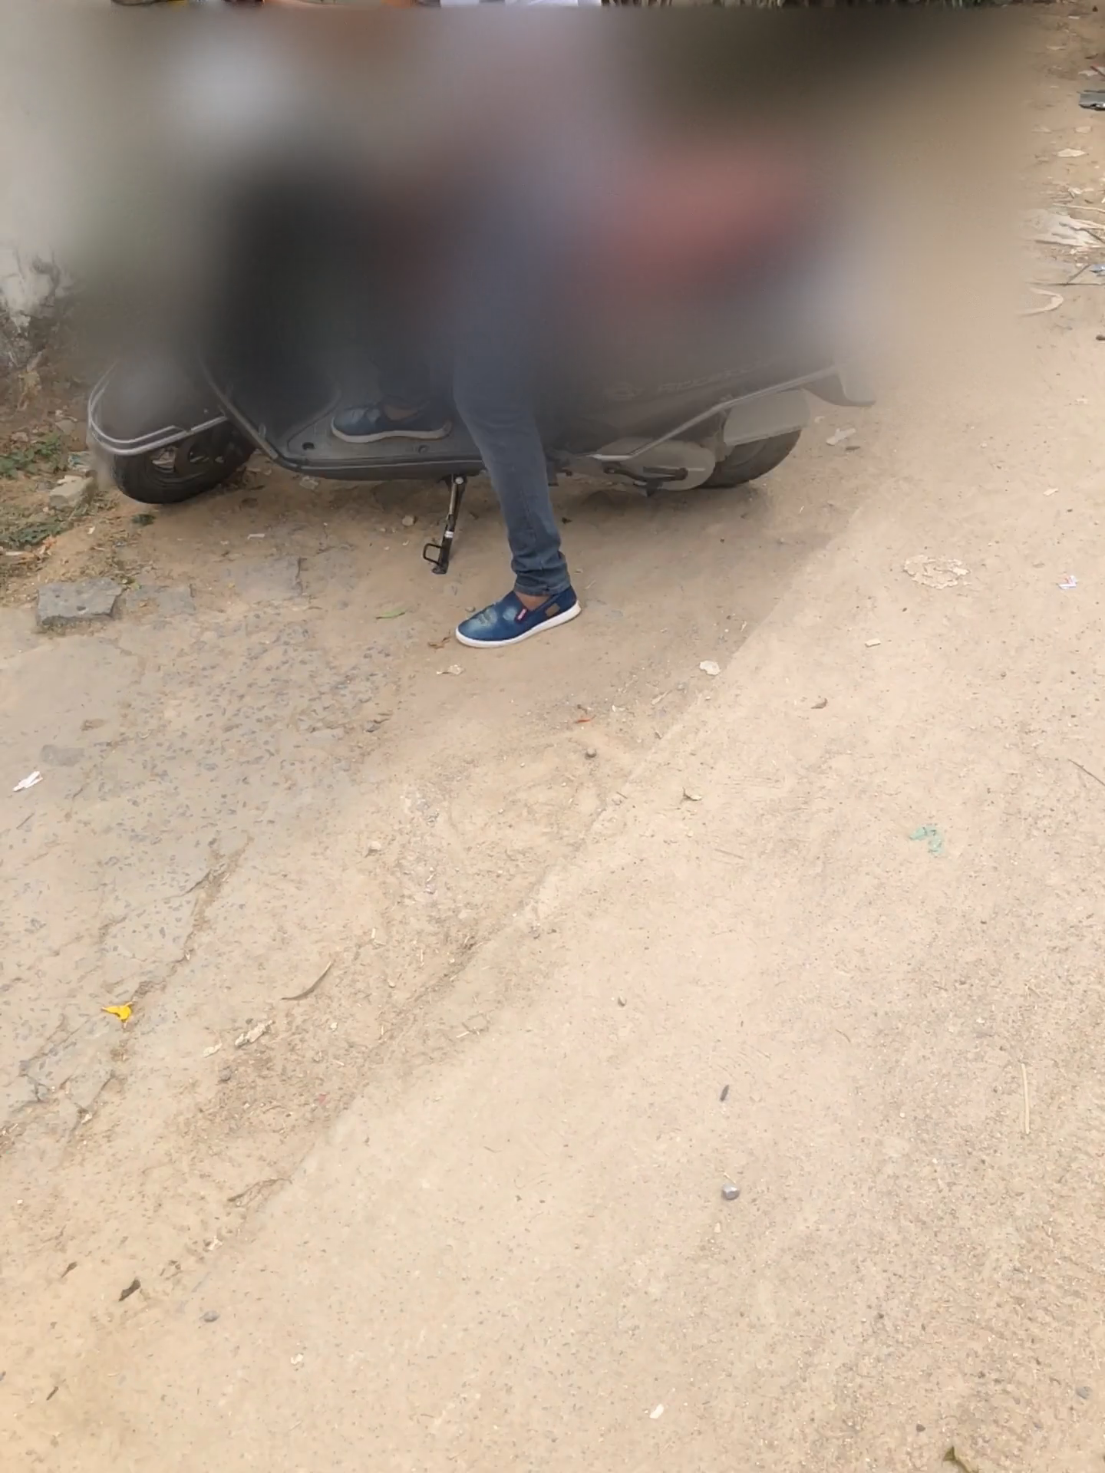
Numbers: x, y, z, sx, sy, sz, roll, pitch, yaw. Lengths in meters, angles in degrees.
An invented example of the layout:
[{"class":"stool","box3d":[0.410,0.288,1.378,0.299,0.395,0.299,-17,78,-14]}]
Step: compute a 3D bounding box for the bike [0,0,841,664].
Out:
[{"class":"bike","box3d":[-0.266,-0.852,2.301,1.497,1.195,0.614,-5,37,-1]}]
